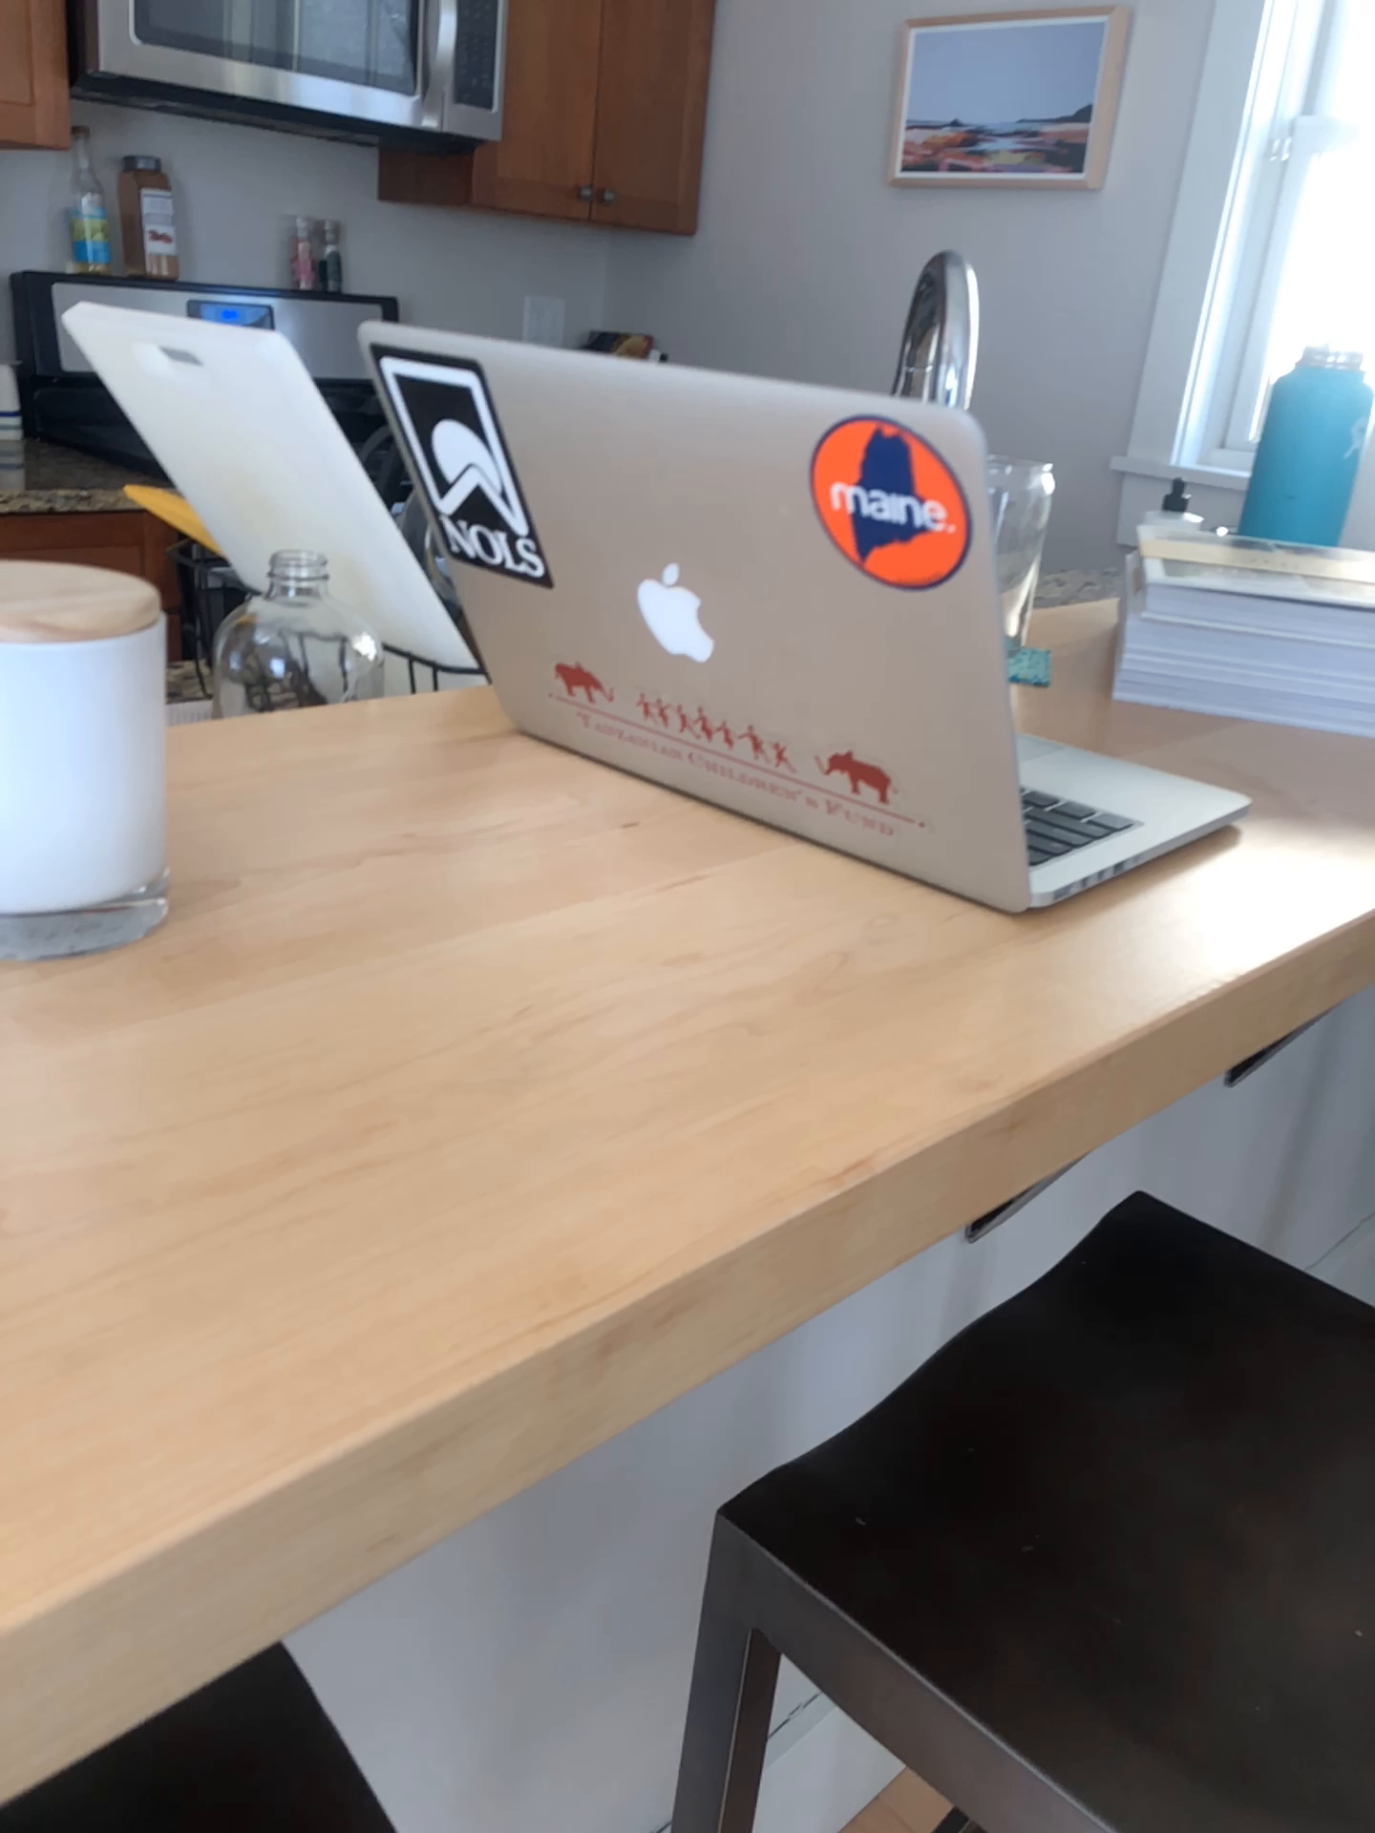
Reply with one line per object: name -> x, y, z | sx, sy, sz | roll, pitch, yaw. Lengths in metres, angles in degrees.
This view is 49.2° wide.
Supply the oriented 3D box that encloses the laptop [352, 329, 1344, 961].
laptop -> 0.072, -0.161, 0.723 | 0.322, 0.188, 0.324 | 23, 29, 36
